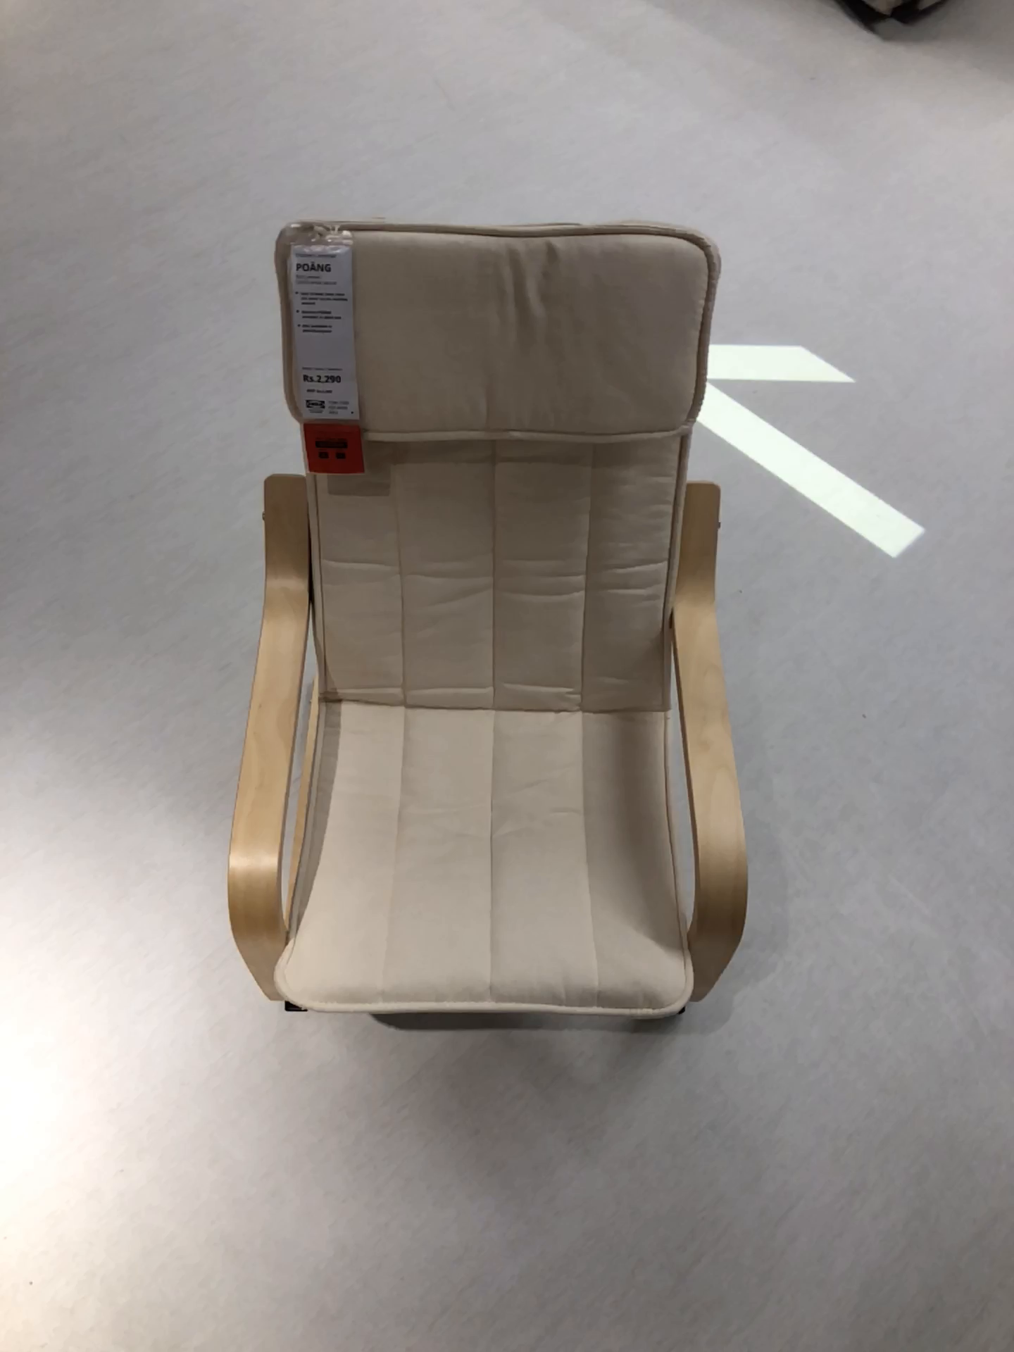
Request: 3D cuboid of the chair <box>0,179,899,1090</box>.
[{"bbox_3d":[-0.057,0.039,1.157,0.560,0.836,0.583,0,58,-1],"label":"chair"}]
